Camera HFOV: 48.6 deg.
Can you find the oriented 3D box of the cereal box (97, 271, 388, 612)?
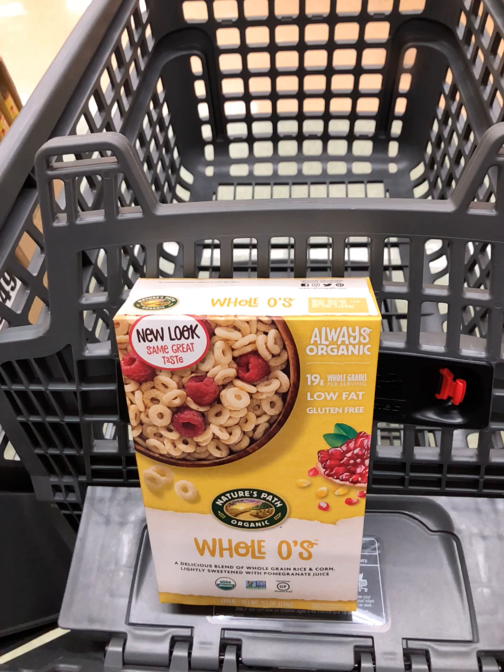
[{"bbox_3d":[-0.001,0.083,0.393,0.160,0.250,0.060,1,29,5],"label":"cereal box"}]
